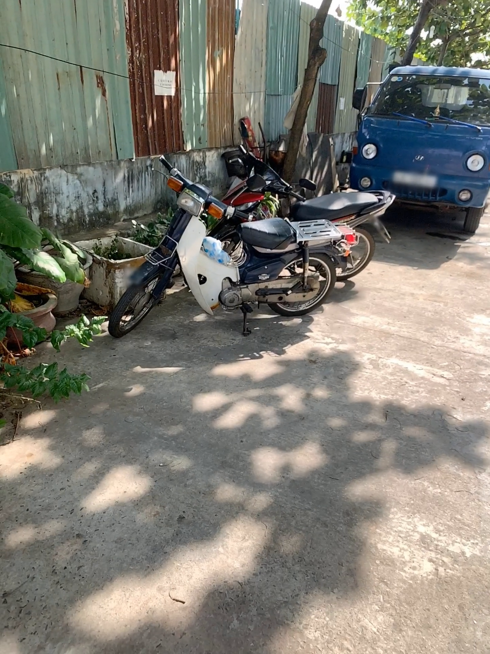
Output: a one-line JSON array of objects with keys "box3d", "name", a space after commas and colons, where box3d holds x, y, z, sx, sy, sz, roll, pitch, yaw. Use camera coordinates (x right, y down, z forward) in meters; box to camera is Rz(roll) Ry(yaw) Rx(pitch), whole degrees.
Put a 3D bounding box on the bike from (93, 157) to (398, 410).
[{"box3d": [-0.001, -0.340, 2.862, 1.476, 1.024, 0.655, -13, 28, -26], "name": "bike"}]
